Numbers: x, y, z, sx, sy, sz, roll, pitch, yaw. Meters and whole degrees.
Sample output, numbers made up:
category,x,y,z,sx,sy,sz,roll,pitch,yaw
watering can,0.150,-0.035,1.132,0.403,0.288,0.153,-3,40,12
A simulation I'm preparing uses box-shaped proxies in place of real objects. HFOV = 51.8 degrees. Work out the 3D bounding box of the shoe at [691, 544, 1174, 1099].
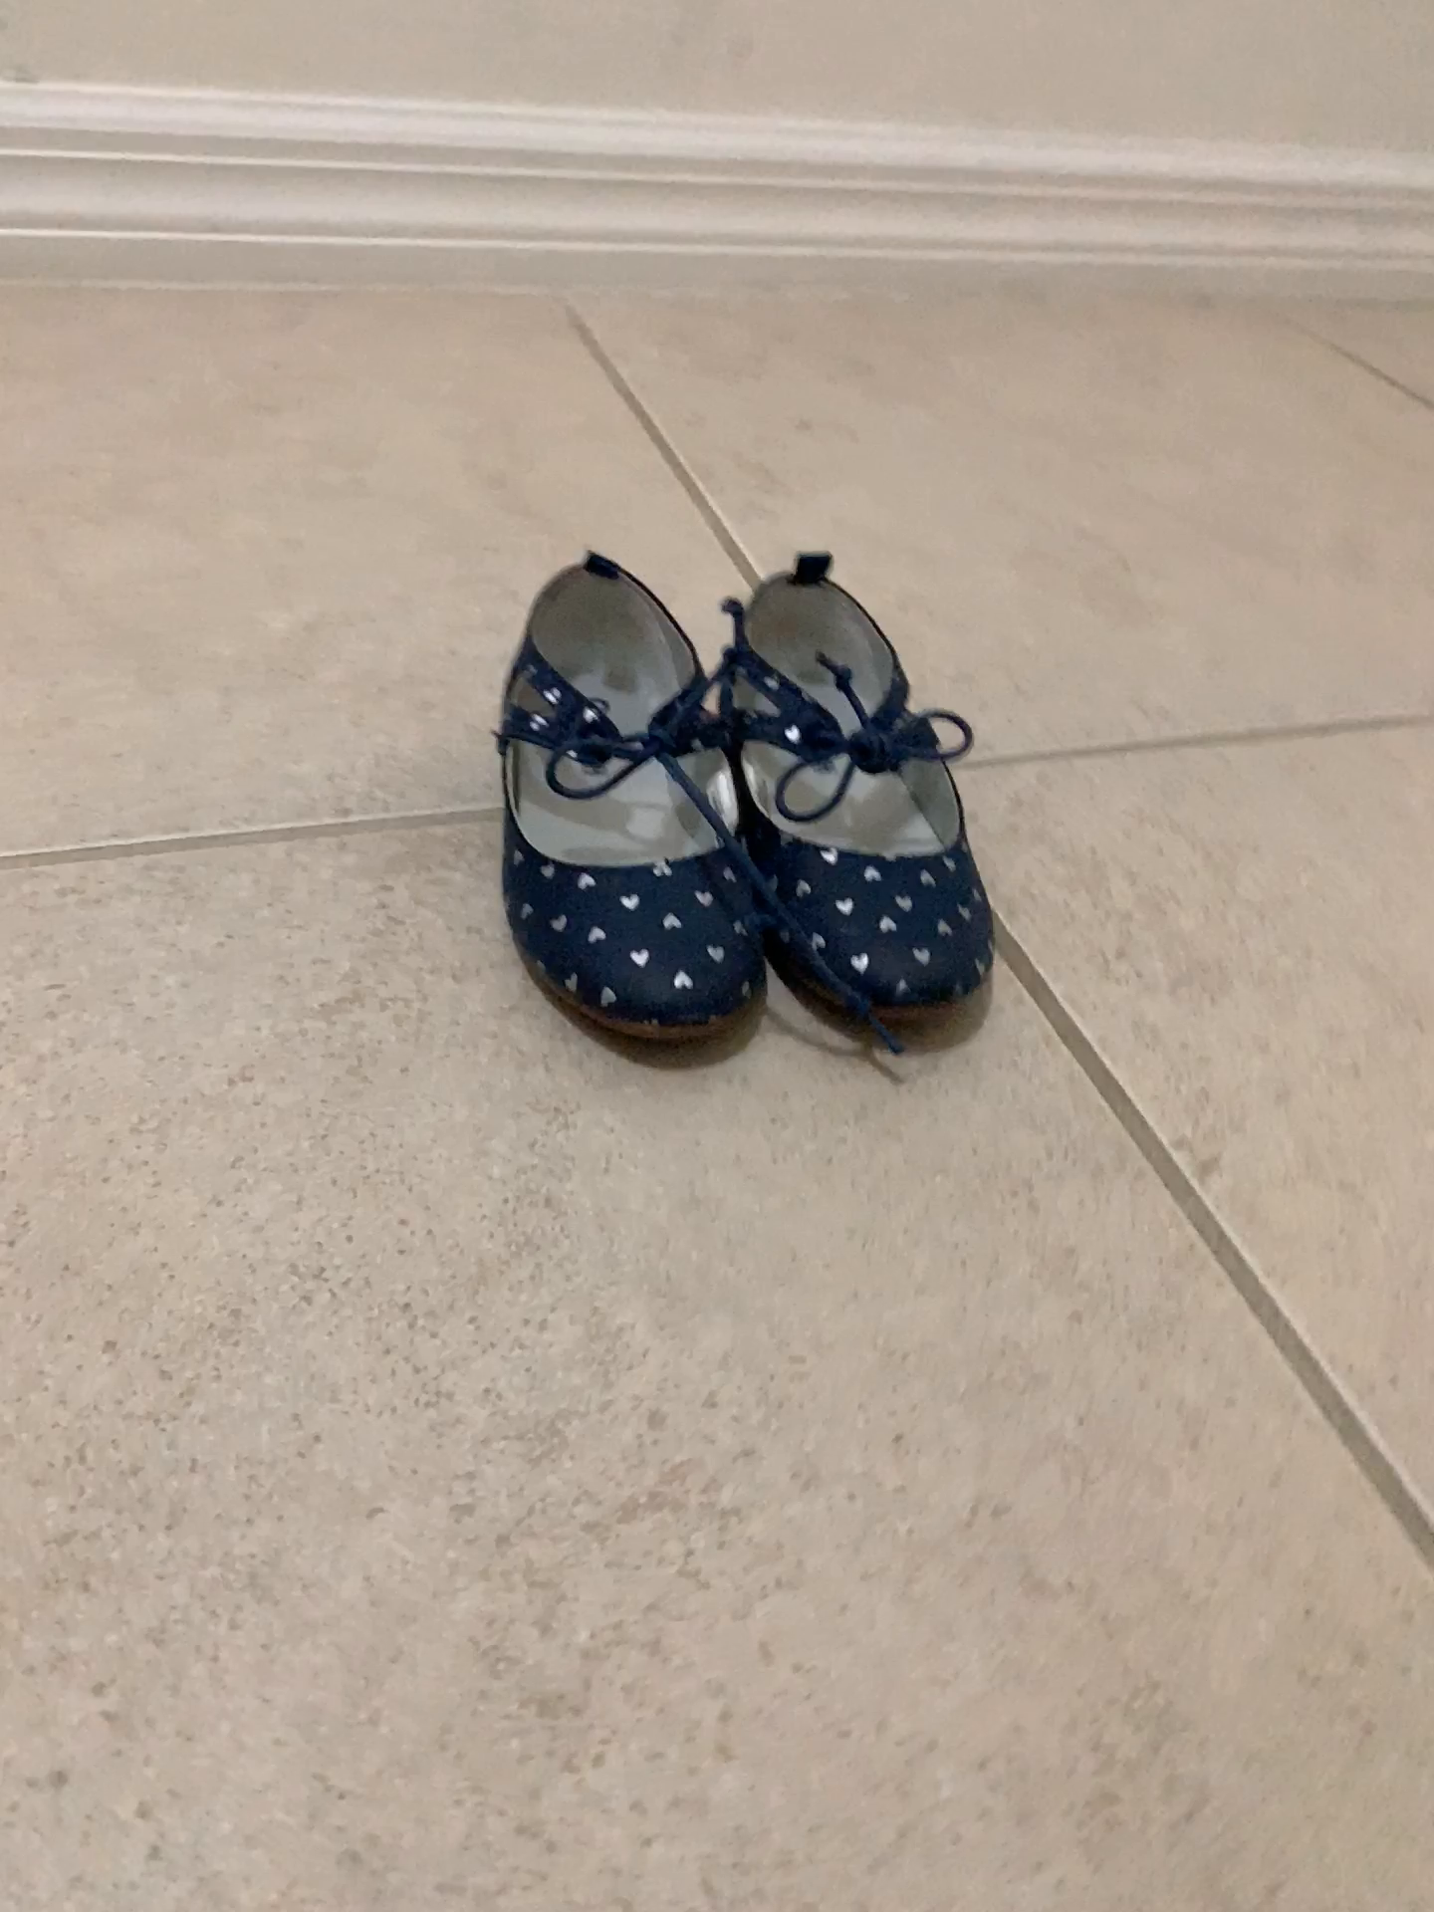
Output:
category,x,y,z,sx,sy,sz,roll,pitch,yaw
shoe,0.048,-0.047,0.410,0.070,0.061,0.172,-3,42,-14

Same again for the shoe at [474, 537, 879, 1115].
category,x,y,z,sx,sy,sz,roll,pitch,yaw
shoe,-0.021,-0.045,0.396,0.070,0.061,0.172,-3,42,-14
